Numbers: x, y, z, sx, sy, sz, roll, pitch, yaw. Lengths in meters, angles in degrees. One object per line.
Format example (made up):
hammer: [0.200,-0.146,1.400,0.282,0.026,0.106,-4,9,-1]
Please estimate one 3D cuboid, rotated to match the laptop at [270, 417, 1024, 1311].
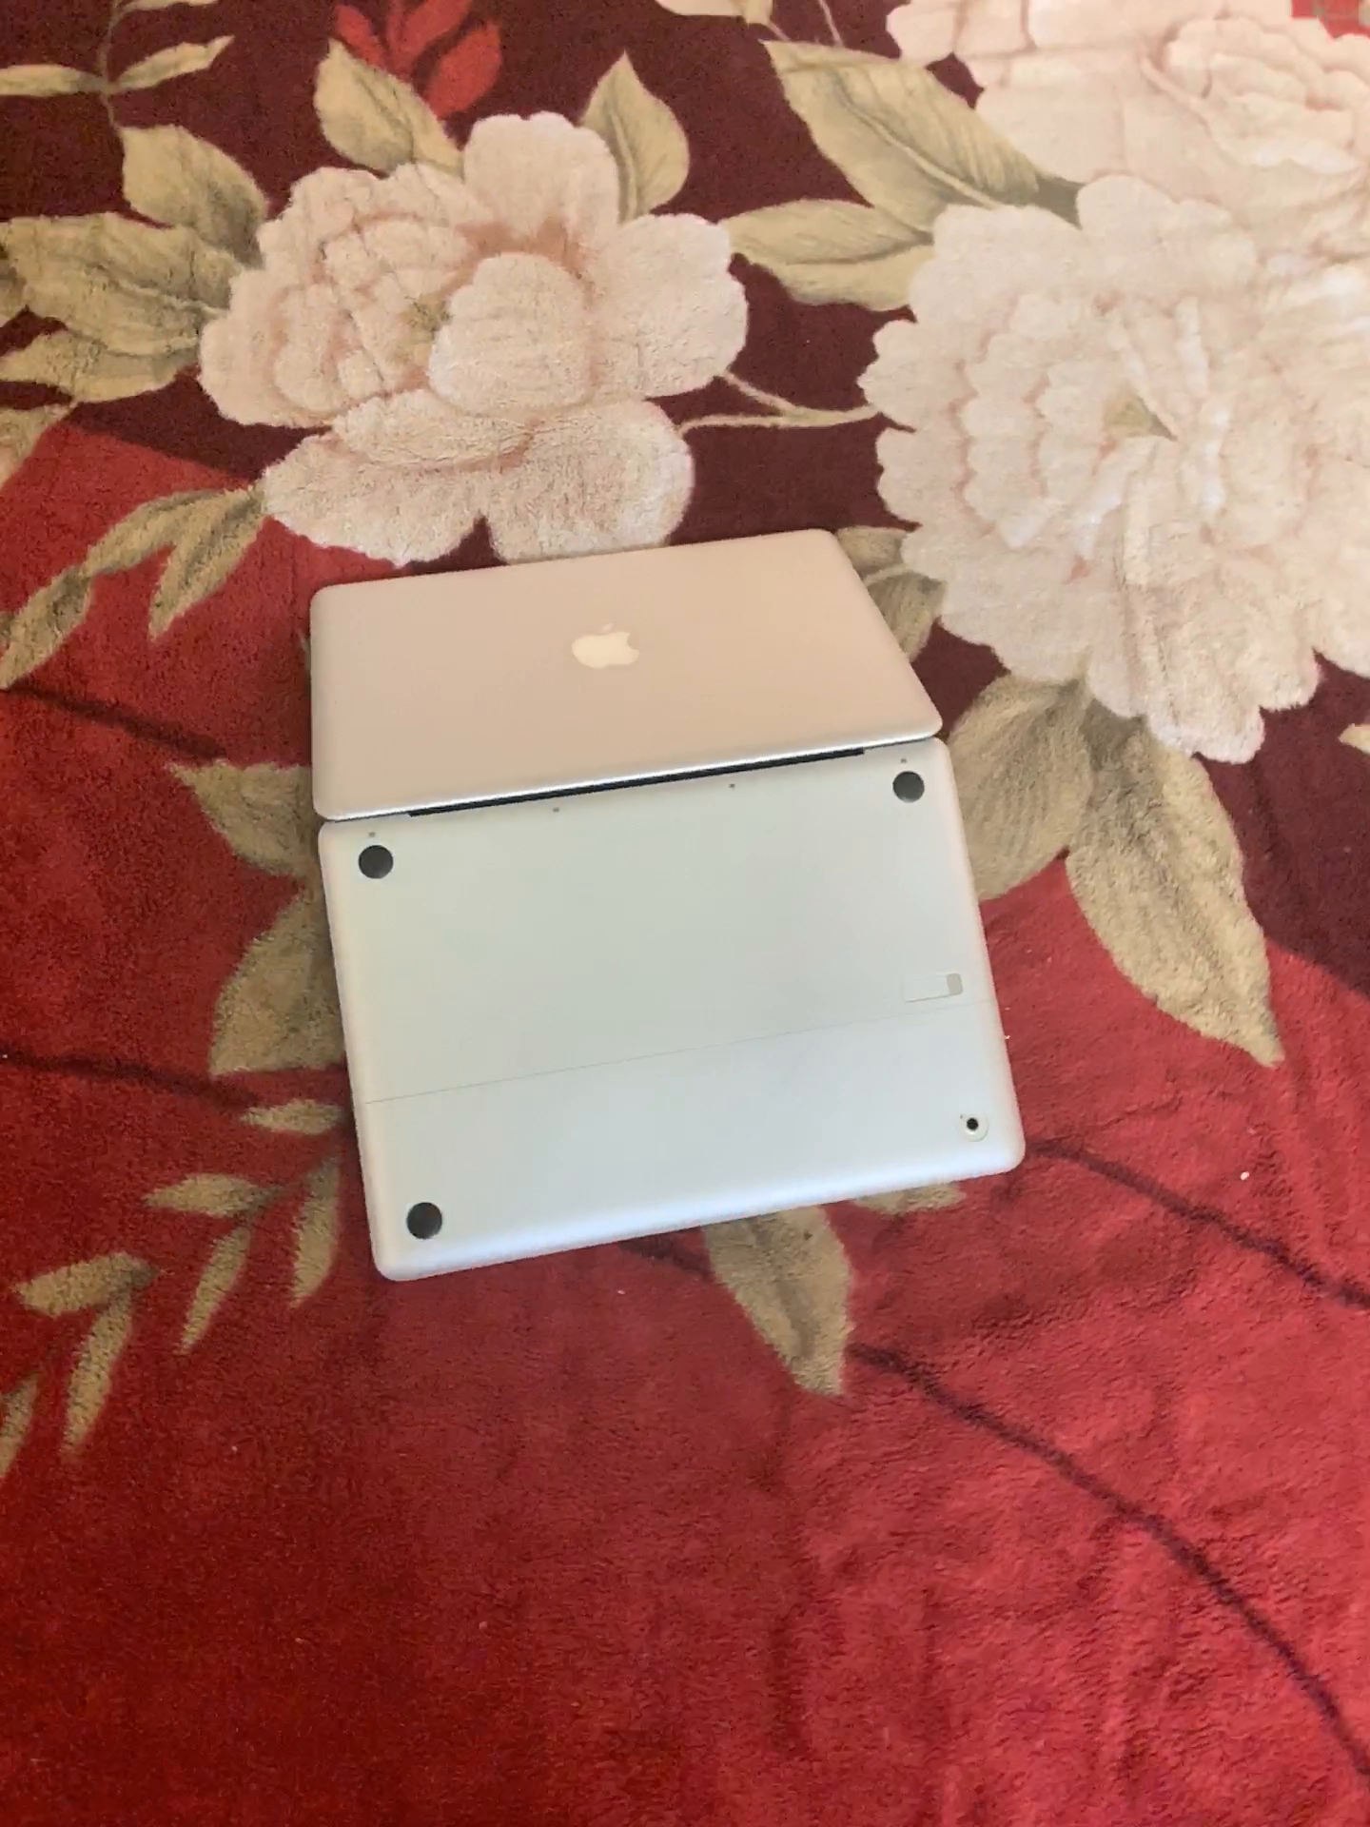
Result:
laptop: [-0.020,-0.028,0.726,0.316,0.078,0.390,-8,82,-8]
